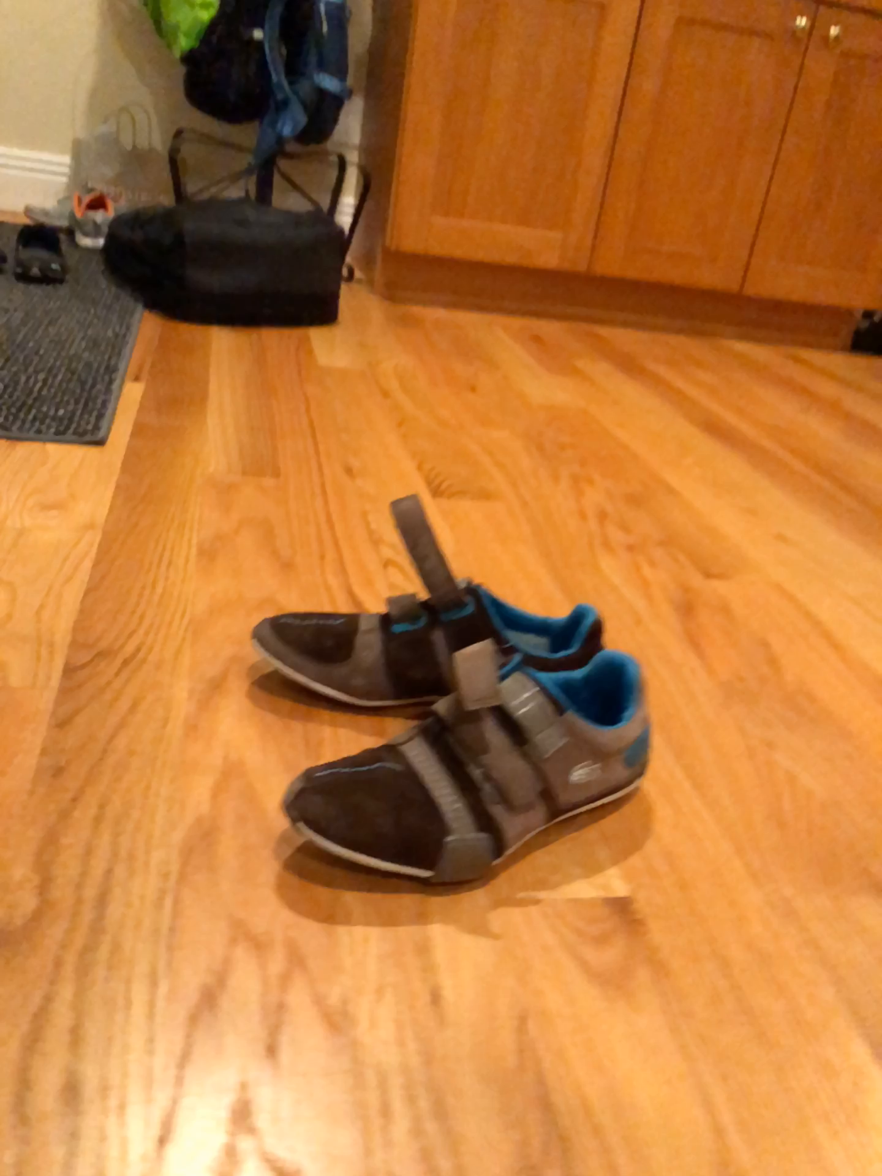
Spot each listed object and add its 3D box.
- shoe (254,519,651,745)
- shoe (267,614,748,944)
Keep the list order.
[{"bbox_3d":[0.005,0.029,0.698,0.255,0.092,0.103,8,25,-3],"label":"shoe"},{"bbox_3d":[0.041,0.096,0.565,0.256,0.092,0.102,-8,30,-32],"label":"shoe"}]
